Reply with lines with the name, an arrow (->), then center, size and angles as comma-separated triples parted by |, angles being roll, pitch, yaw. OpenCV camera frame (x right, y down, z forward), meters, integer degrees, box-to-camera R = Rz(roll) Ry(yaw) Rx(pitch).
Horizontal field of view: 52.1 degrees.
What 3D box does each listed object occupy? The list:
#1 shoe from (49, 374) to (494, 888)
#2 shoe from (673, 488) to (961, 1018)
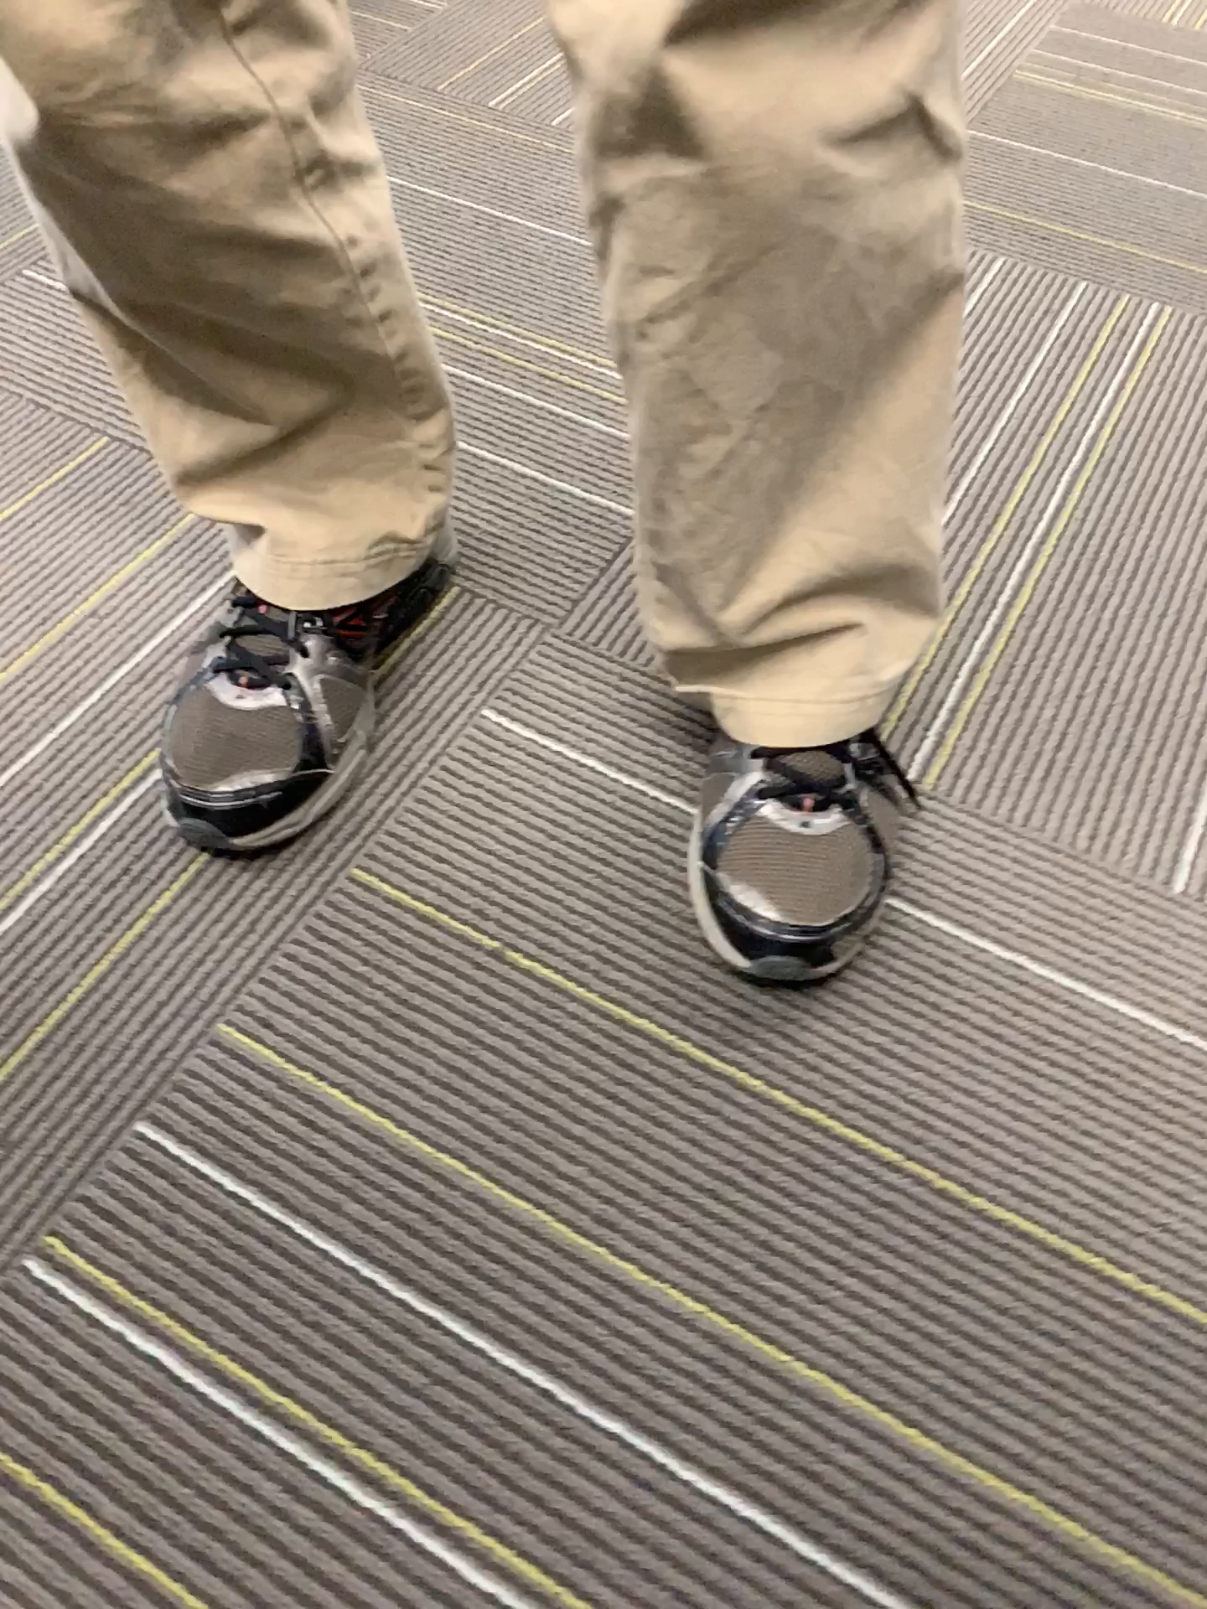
shoe -> -0.178, -0.120, 0.746 | 0.134, 0.087, 0.328 | 11, 53, 7
shoe -> 0.118, -0.044, 0.718 | 0.130, 0.087, 0.317 | 5, 52, 2
